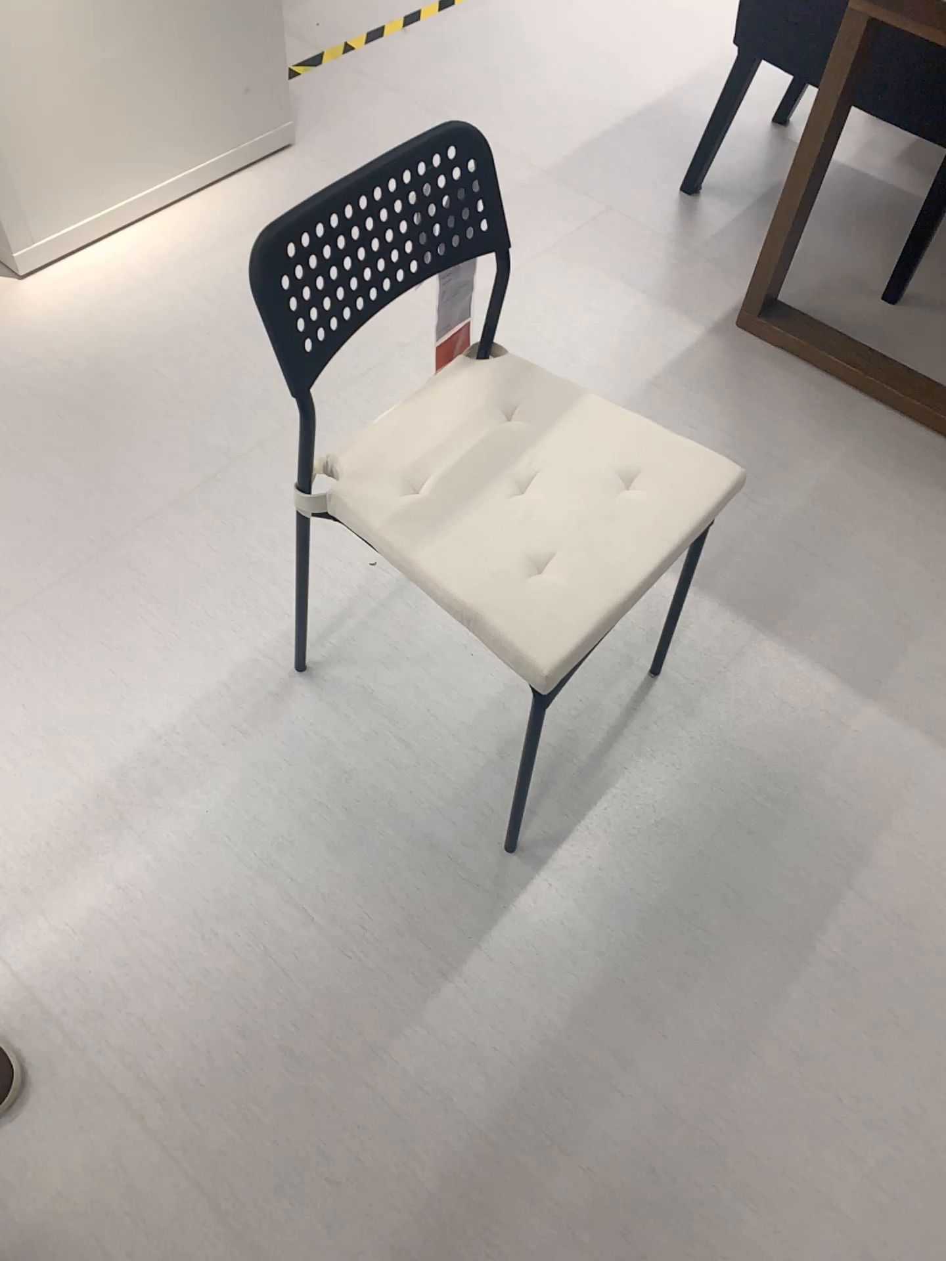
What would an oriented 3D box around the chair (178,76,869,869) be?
[{"bbox_3d":[0.033,-0.149,1.228,0.490,0.758,0.451,36,60,18],"label":"chair"}]
